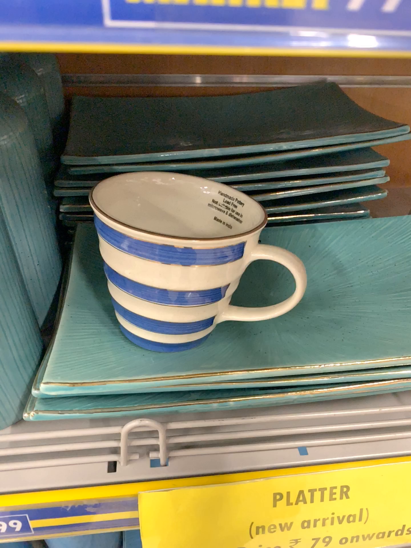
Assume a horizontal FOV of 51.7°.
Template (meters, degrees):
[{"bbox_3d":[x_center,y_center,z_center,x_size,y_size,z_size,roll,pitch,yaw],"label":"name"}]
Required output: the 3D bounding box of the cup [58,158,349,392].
[{"bbox_3d":[-0.001,-0.006,0.263,0.140,0.080,0.100,11,31,3],"label":"cup"}]
